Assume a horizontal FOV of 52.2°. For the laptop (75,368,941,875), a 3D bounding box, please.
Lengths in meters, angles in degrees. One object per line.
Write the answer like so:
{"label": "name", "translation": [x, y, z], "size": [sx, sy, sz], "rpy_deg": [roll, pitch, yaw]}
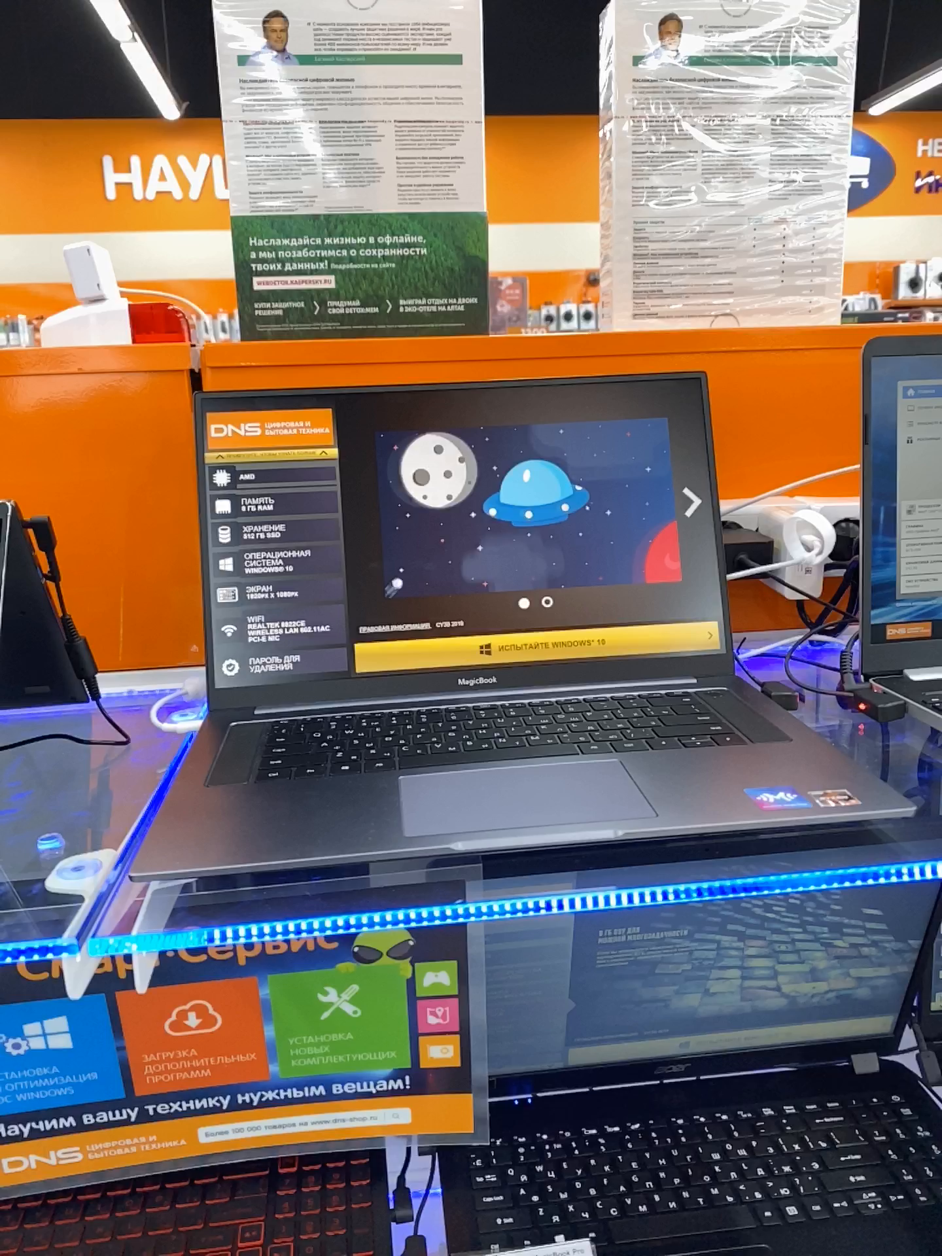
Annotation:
{"label": "laptop", "translation": [0.011, -0.040, 0.575], "size": [0.368, 0.207, 0.315], "rpy_deg": [-3, 14, -5]}
